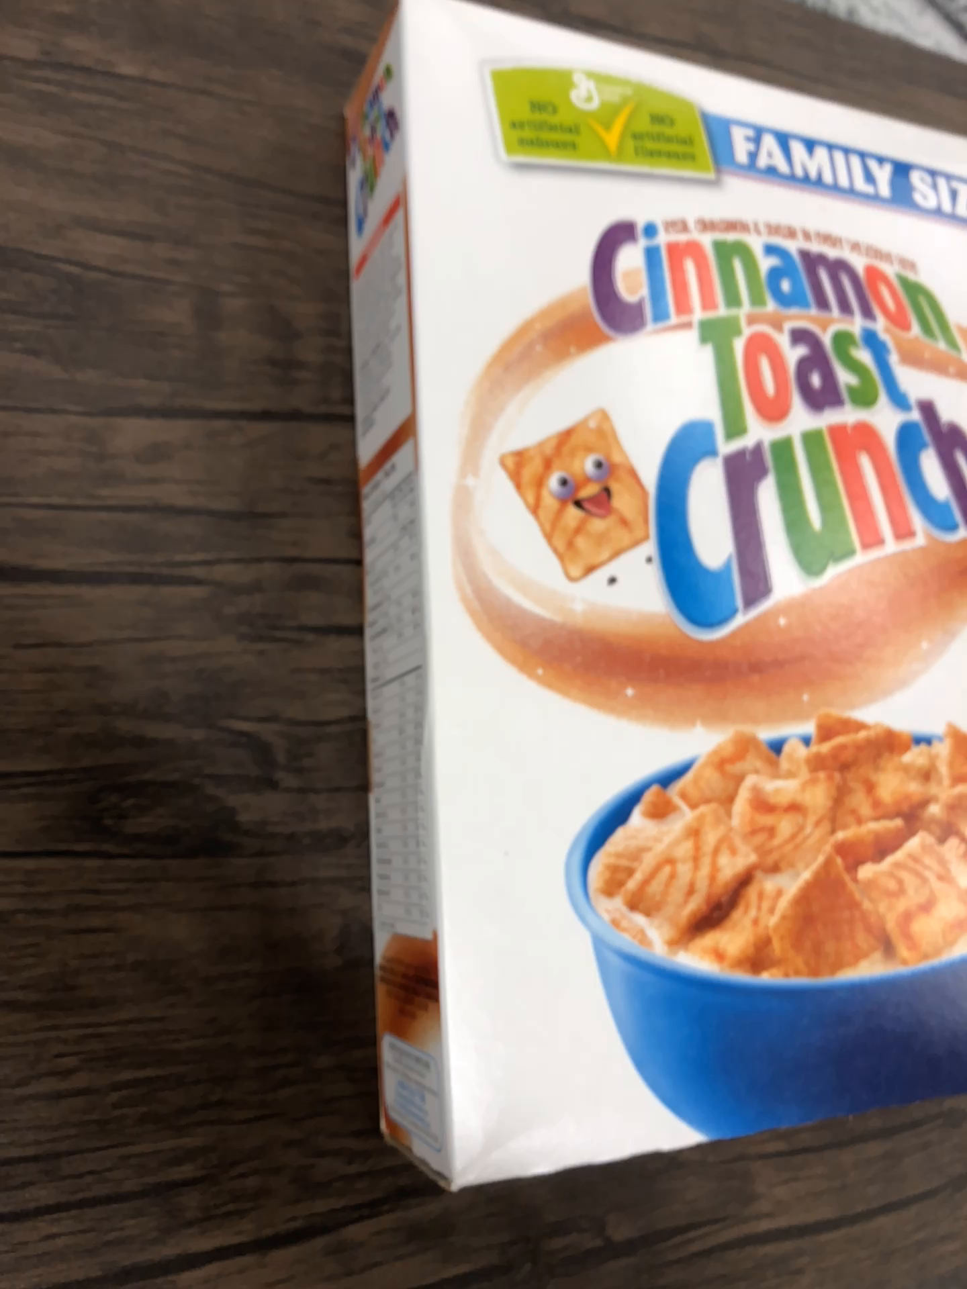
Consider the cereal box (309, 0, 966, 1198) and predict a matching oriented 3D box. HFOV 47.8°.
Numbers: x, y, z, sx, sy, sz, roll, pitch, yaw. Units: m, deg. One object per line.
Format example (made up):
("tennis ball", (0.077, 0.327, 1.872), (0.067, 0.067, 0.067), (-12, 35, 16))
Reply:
("cereal box", (0.078, -0.040, 0.367), (0.251, 0.070, 0.360), (2, 78, -25))
